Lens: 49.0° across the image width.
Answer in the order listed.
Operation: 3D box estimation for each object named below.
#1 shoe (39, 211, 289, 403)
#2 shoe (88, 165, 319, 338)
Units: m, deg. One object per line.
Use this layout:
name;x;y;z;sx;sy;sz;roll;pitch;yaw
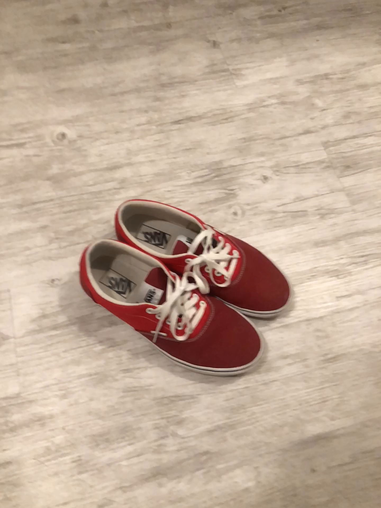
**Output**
shoe;-0.033;0.068;0.531;0.272;0.093;0.110;26;68;8
shoe;0.015;-0.002;0.560;0.266;0.088;0.110;23;68;7
